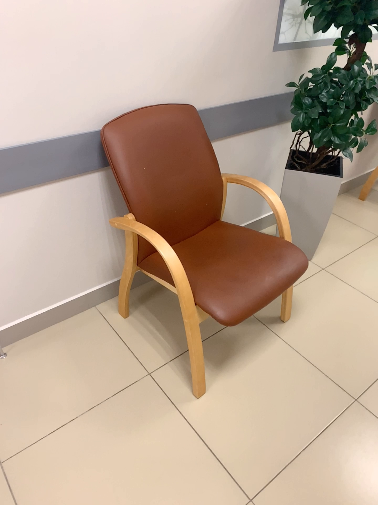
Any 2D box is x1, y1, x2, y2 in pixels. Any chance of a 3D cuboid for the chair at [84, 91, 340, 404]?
[{"bbox_3d":[0.067,-0.053,1.638,0.672,0.984,0.601,-28,46,-35],"label":"chair"}]
